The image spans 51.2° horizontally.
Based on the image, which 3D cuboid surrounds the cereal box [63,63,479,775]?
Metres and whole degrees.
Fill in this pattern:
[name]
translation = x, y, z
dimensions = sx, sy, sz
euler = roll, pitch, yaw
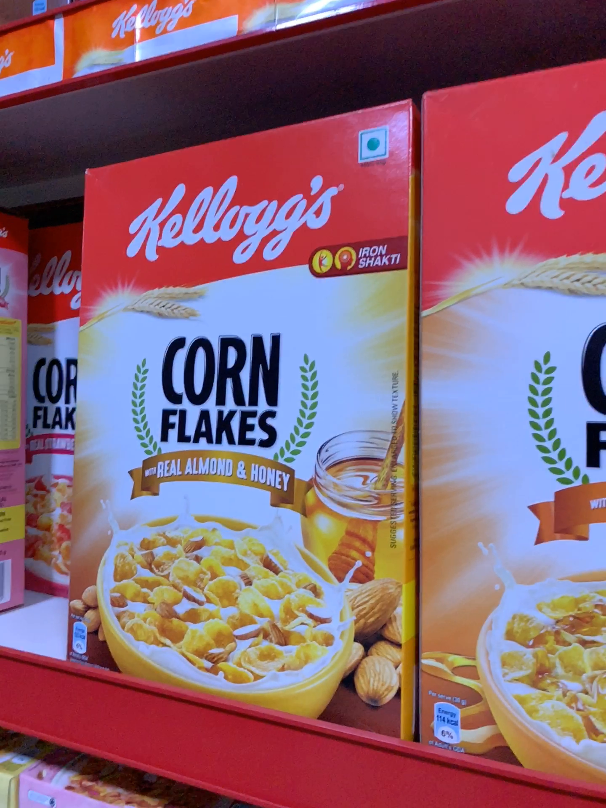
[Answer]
[cereal box]
translation = -0.019, 0.004, 0.271
dimensions = 0.170, 0.230, 0.060
euler = -1, -1, 28
